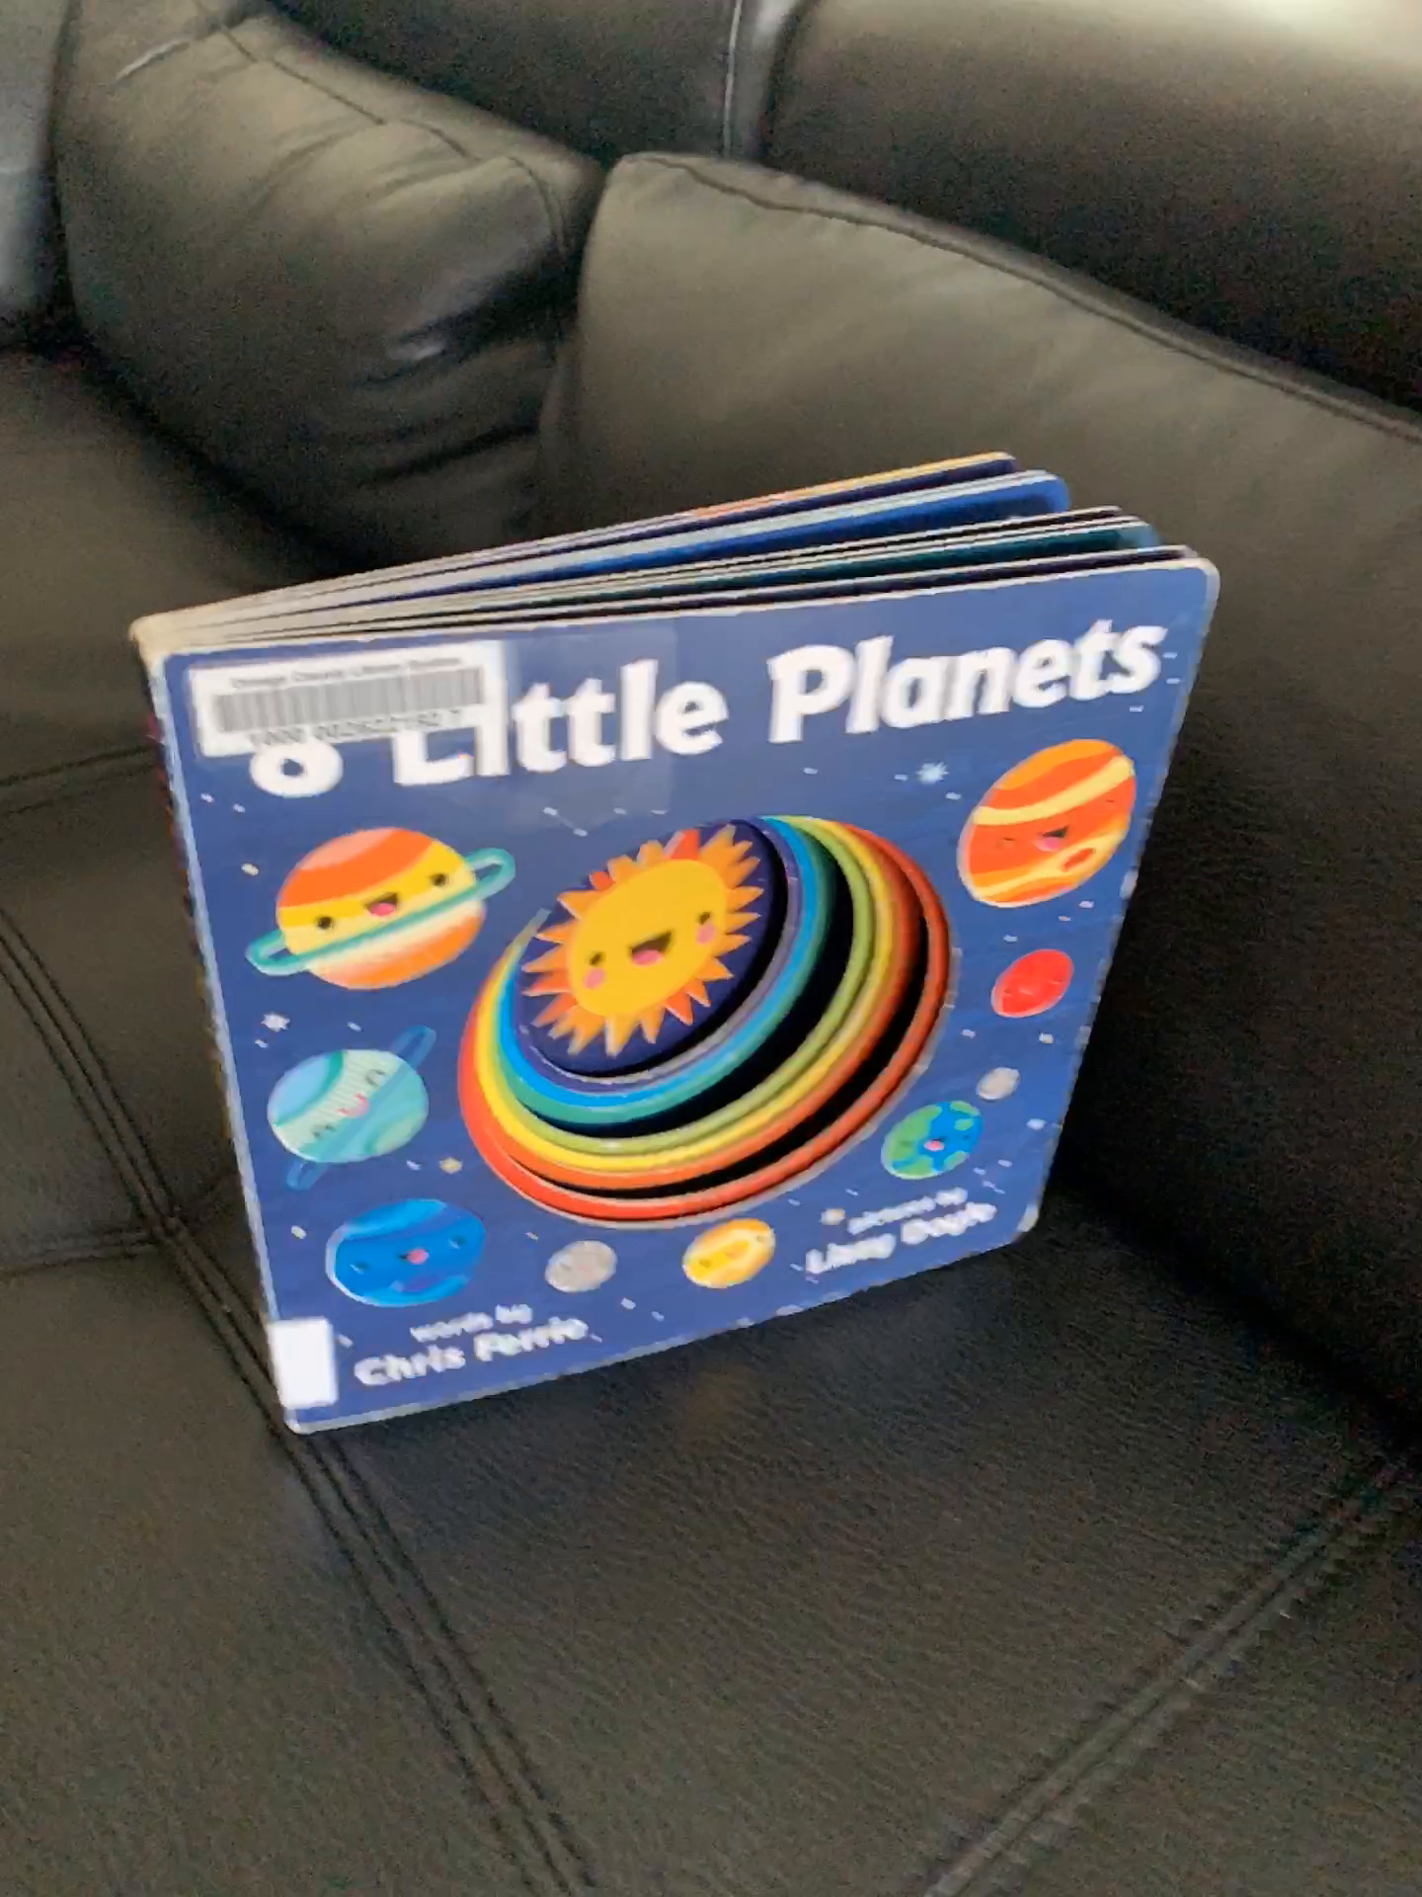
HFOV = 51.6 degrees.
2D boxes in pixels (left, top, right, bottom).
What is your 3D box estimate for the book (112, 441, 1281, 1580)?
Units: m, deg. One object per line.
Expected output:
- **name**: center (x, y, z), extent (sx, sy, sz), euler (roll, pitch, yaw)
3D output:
- **book**: center (-0.004, 0.011, 0.337), extent (0.208, 0.211, 0.079), euler (-13, 38, -23)
